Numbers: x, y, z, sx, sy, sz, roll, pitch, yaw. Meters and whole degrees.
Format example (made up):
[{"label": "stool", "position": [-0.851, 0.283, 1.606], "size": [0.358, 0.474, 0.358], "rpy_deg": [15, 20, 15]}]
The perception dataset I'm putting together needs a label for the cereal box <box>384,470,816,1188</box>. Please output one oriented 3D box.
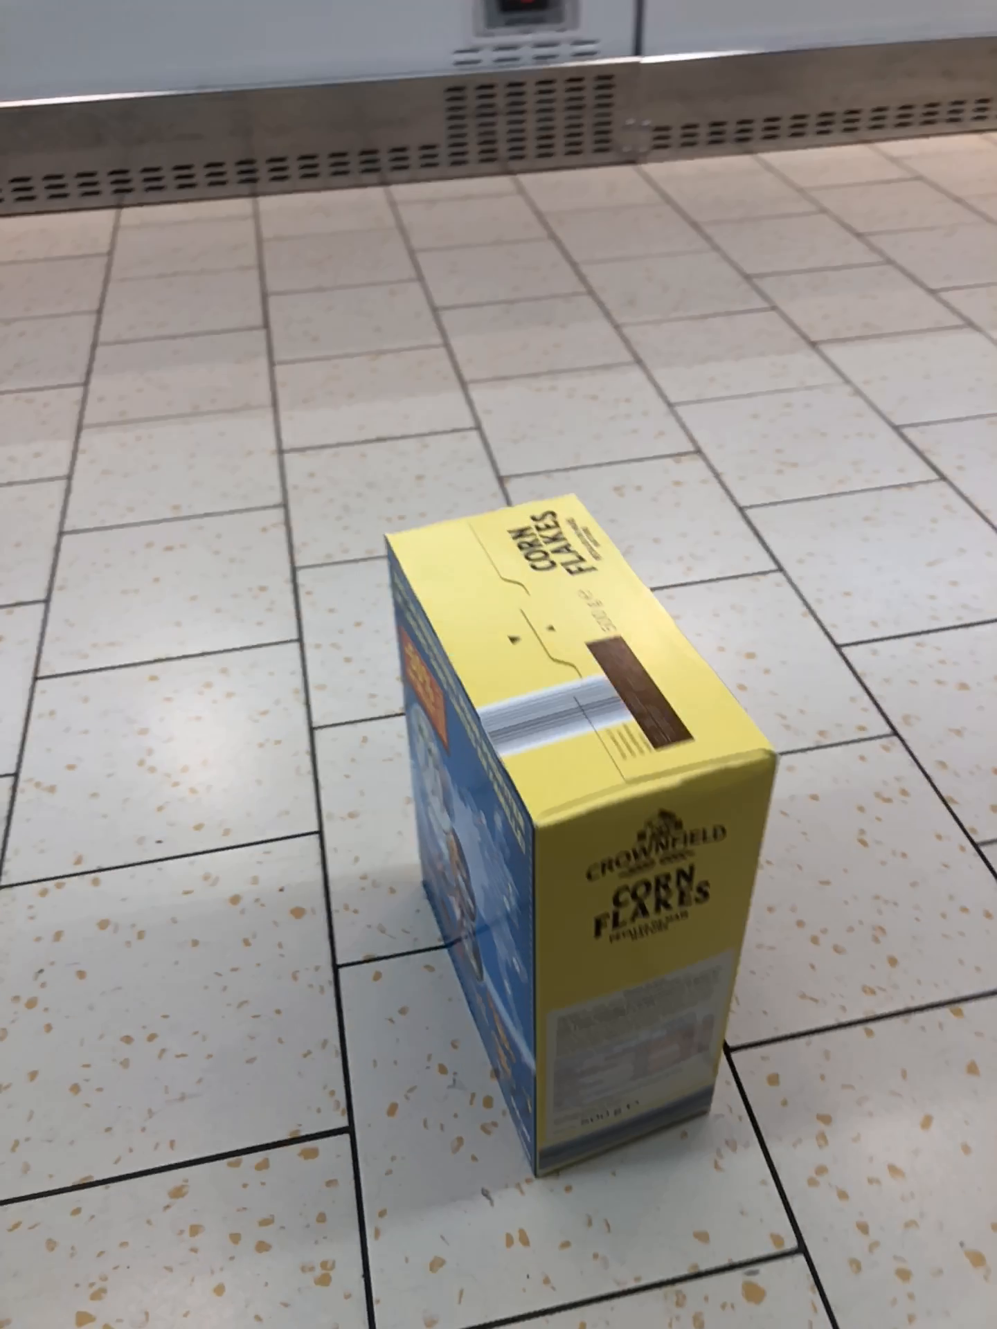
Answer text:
[{"label": "cereal box", "position": [0.033, 0.077, 0.525], "size": [0.100, 0.258, 0.201], "rpy_deg": [-14, 41, -14]}]
